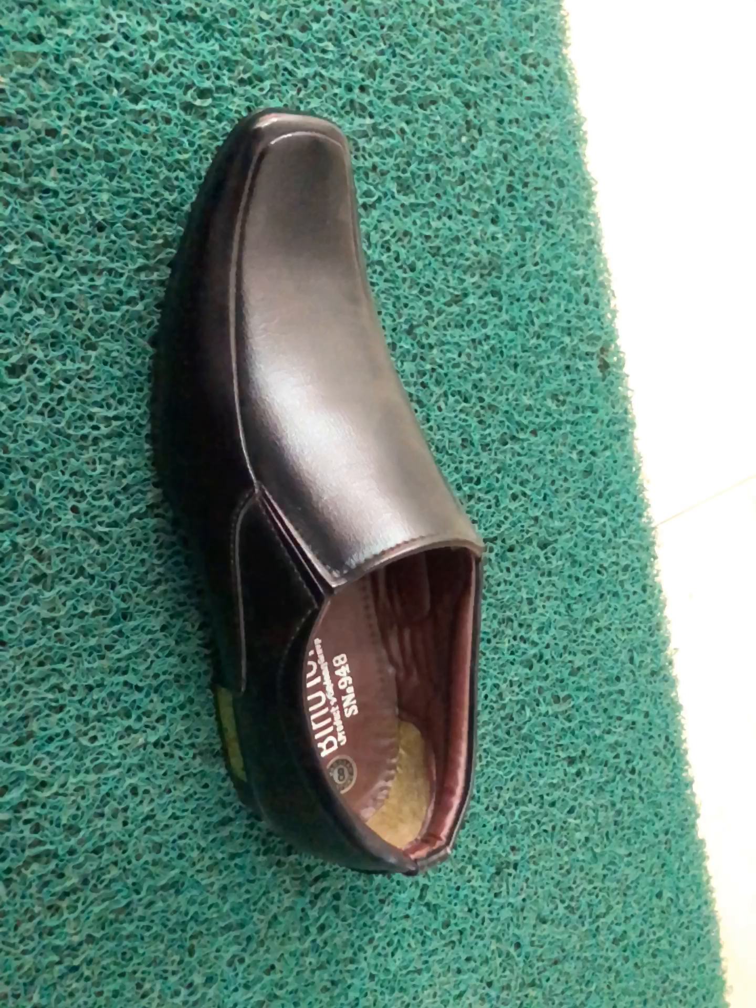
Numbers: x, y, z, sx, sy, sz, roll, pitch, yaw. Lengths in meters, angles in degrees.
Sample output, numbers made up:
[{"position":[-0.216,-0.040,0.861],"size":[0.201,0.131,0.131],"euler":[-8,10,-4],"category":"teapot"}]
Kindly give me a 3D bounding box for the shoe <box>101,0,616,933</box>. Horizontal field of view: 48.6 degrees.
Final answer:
[{"position":[-0.009,-0.018,0.314],"size":[0.111,0.129,0.270],"euler":[-10,97,-36],"category":"shoe"}]
